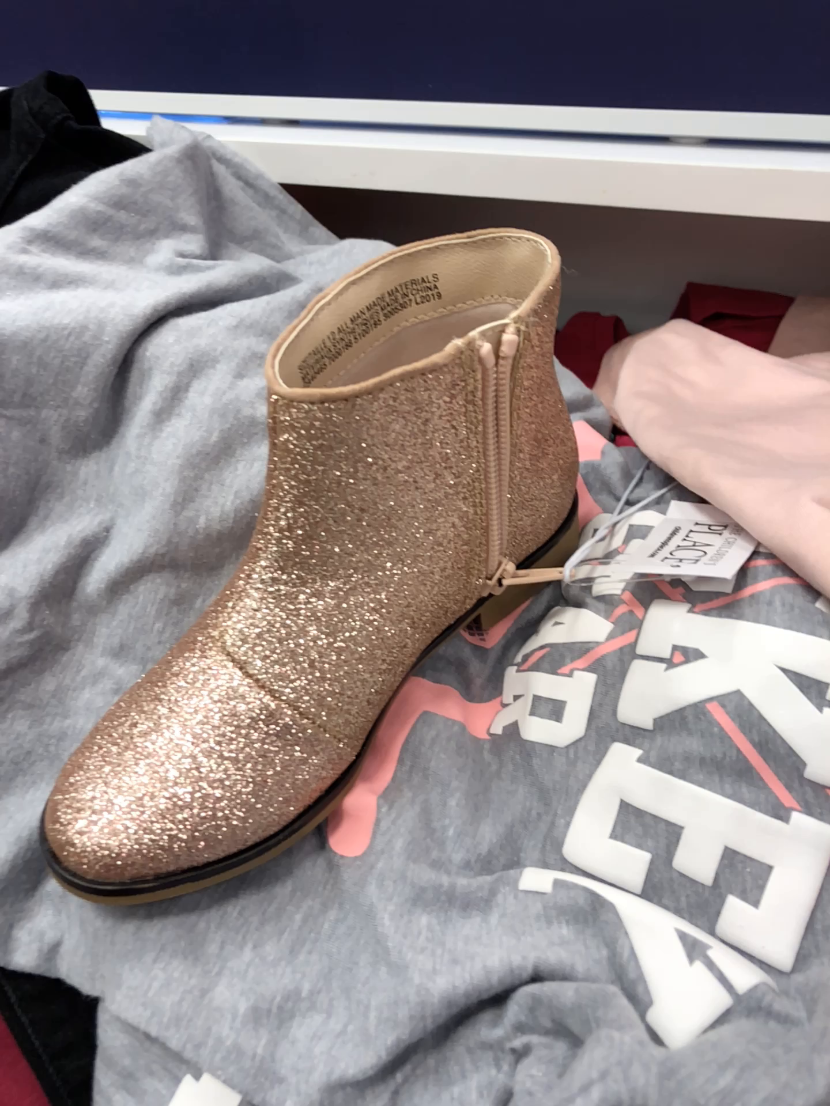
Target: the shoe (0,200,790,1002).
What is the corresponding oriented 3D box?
[{"bbox_3d":[-0.003,-0.009,0.275,0.237,0.129,0.084,-27,41,-32],"label":"shoe"}]
